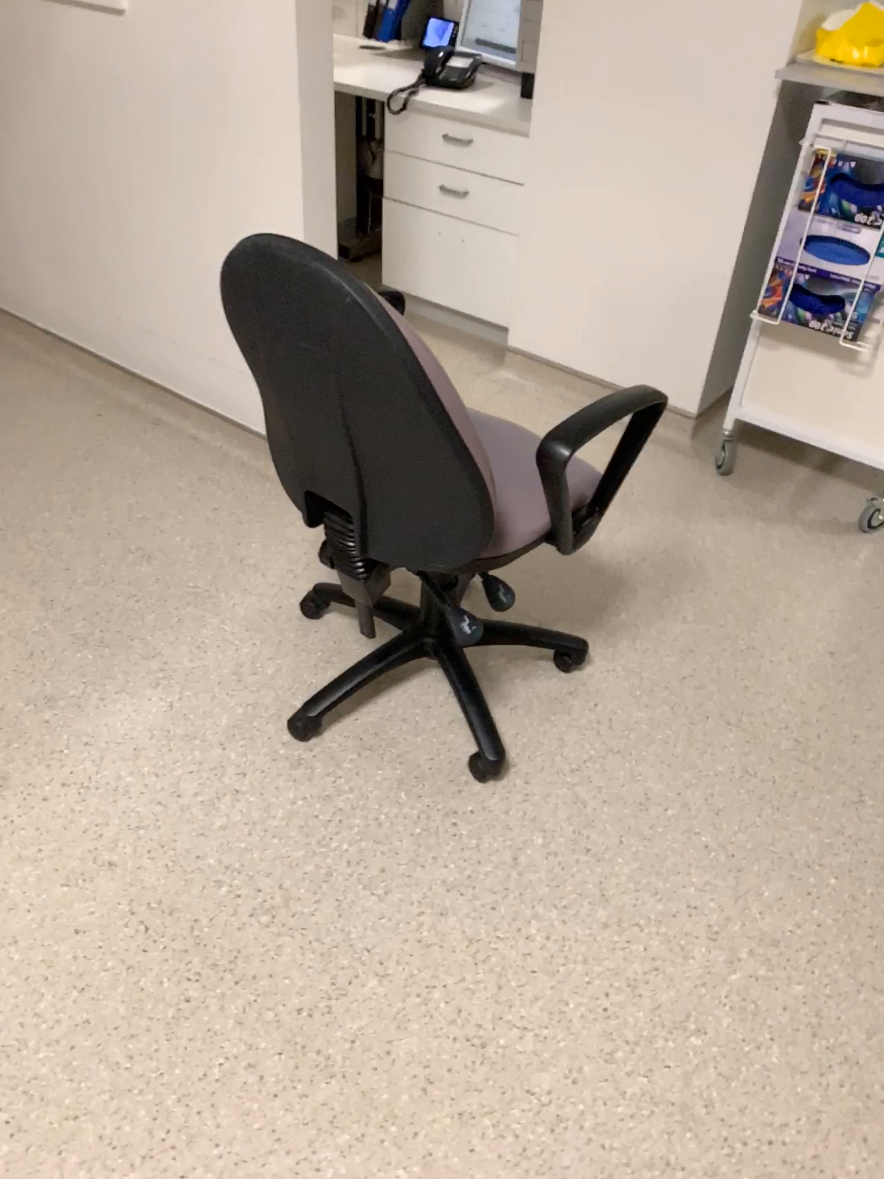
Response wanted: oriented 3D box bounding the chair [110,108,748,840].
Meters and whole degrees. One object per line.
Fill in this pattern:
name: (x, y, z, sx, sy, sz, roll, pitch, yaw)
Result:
chair: (-0.018, -0.229, 1.553, 0.634, 0.899, 0.658, 27, 44, 27)
